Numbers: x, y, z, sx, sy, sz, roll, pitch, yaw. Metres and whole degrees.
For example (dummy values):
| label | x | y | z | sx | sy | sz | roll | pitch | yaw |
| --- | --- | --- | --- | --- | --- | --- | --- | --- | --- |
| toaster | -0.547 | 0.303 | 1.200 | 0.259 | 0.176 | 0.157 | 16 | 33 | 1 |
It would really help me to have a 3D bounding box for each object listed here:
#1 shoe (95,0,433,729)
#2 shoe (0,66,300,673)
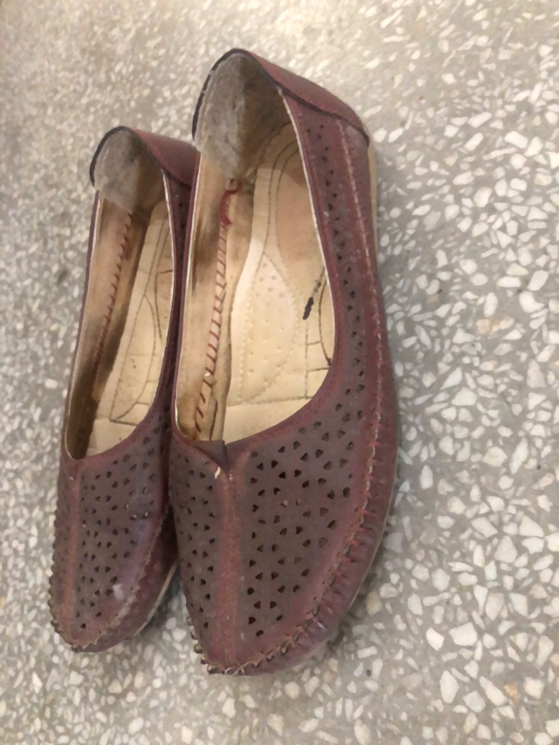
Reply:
| label | x | y | z | sx | sy | sz | roll | pitch | yaw |
| --- | --- | --- | --- | --- | --- | --- | --- | --- | --- |
| shoe | 0.002 | -0.015 | 0.246 | 0.090 | 0.060 | 0.250 | -7 | 69 | 37 |
| shoe | -0.060 | -0.006 | 0.299 | 0.090 | 0.060 | 0.250 | -3 | 72 | 38 |
